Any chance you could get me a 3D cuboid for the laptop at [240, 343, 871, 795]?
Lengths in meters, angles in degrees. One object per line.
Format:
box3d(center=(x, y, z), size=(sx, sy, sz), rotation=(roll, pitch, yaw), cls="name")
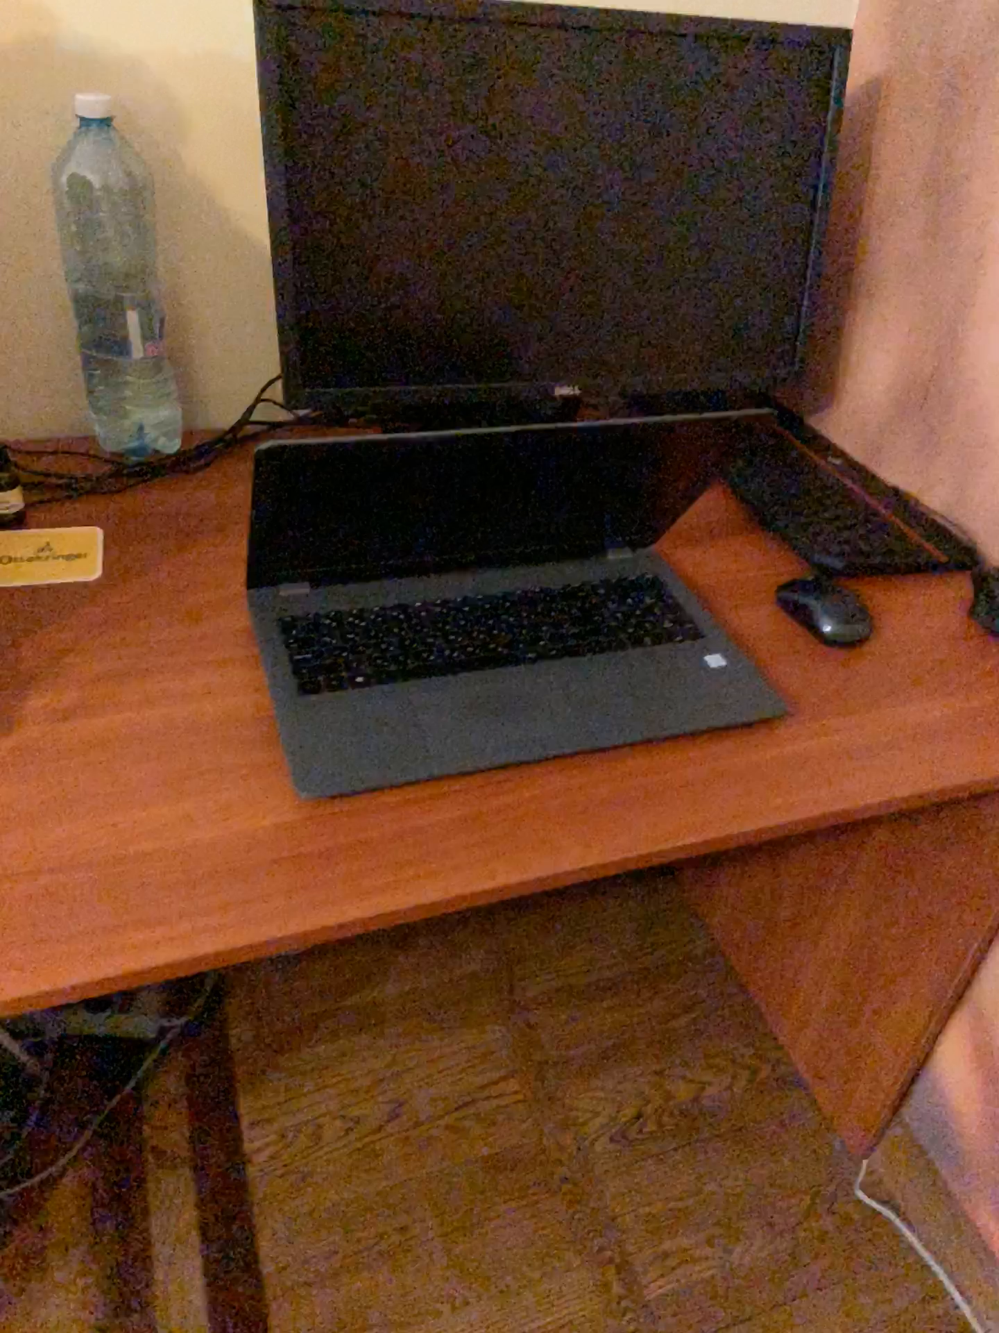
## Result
box3d(center=(0.020, -0.090, 0.731), size=(0.360, 0.191, 0.233), rotation=(-8, 39, -18), cls="laptop")
